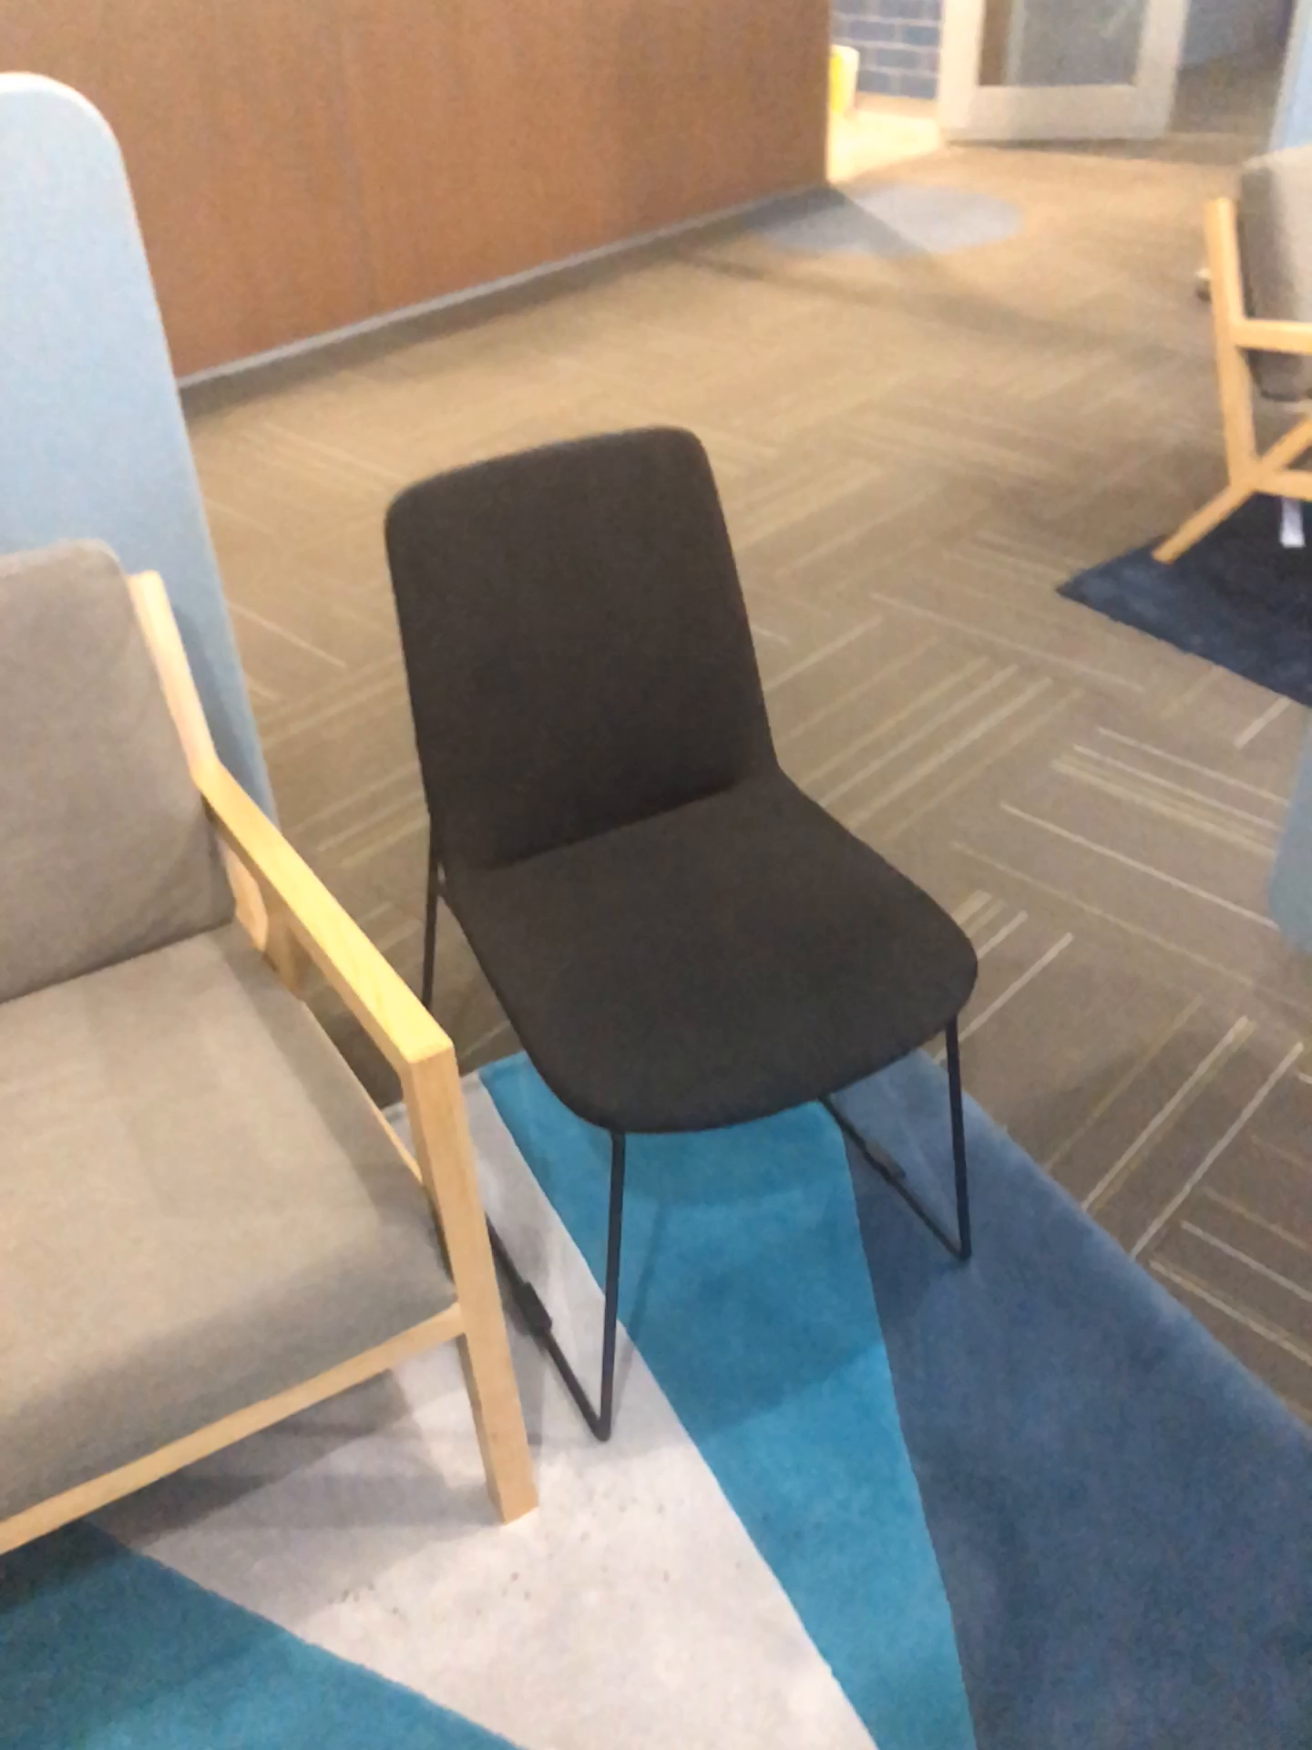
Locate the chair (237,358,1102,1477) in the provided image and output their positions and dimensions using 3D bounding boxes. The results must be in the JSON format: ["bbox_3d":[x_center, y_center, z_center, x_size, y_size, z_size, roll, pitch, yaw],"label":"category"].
[{"bbox_3d":[-0.019,0.012,1.521,0.502,0.823,0.683,-19,40,-20],"label":"chair"}]
